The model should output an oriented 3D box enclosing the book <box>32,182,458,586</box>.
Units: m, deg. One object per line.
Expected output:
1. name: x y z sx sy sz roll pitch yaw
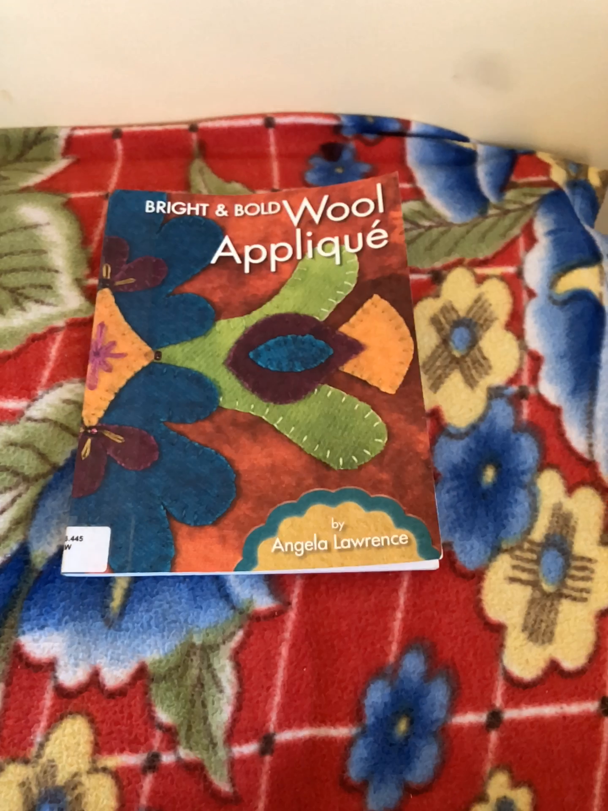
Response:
1. book: -0.035 -0.029 0.416 0.220 0.020 0.264 -2 64 -2
